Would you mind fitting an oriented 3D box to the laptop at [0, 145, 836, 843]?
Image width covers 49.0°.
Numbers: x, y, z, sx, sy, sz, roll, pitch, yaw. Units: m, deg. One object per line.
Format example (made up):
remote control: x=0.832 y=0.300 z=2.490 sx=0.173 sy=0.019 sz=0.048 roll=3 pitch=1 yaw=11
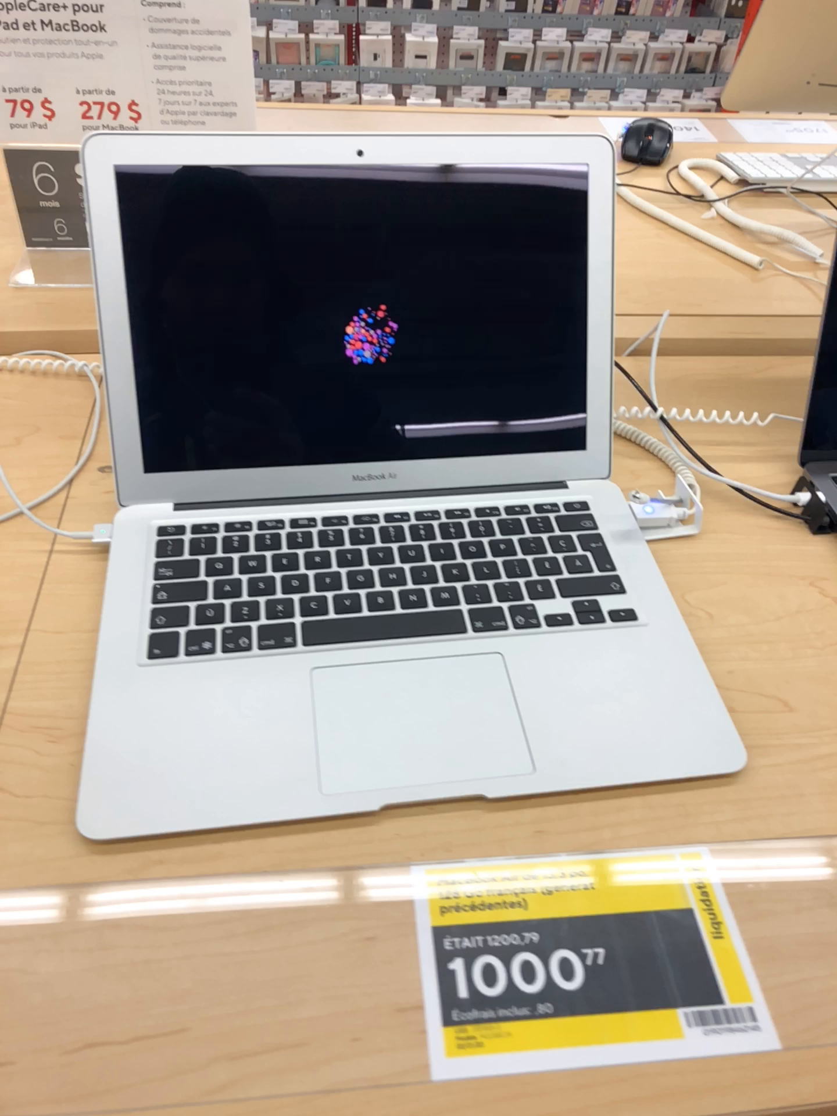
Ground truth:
laptop: x=-0.012 y=-0.065 z=0.477 sx=0.305 sy=0.186 sz=0.326 roll=-4 pitch=41 yaw=-10
